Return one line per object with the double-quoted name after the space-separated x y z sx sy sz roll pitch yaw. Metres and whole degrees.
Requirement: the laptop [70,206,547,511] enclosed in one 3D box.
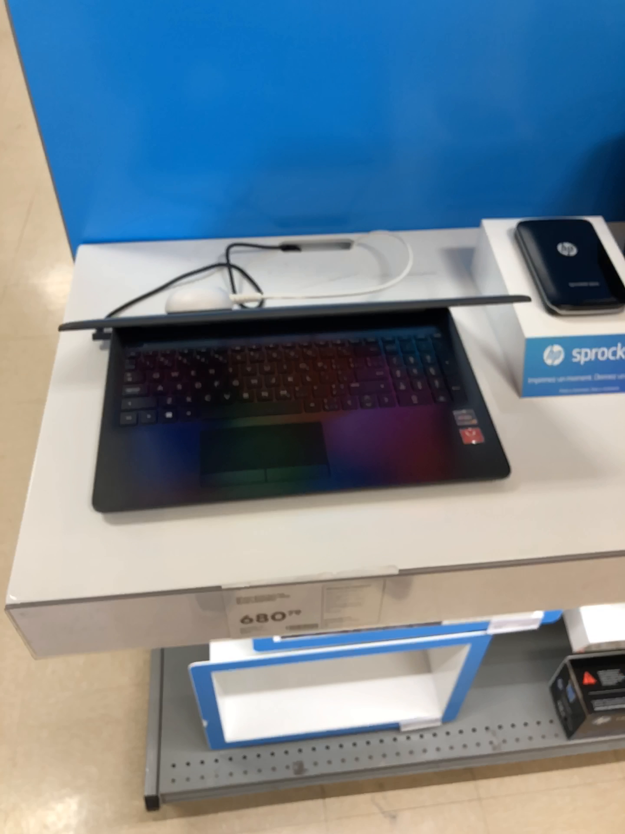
-0.013 -0.068 0.637 0.355 0.130 0.243 -4 46 -8 "laptop"
